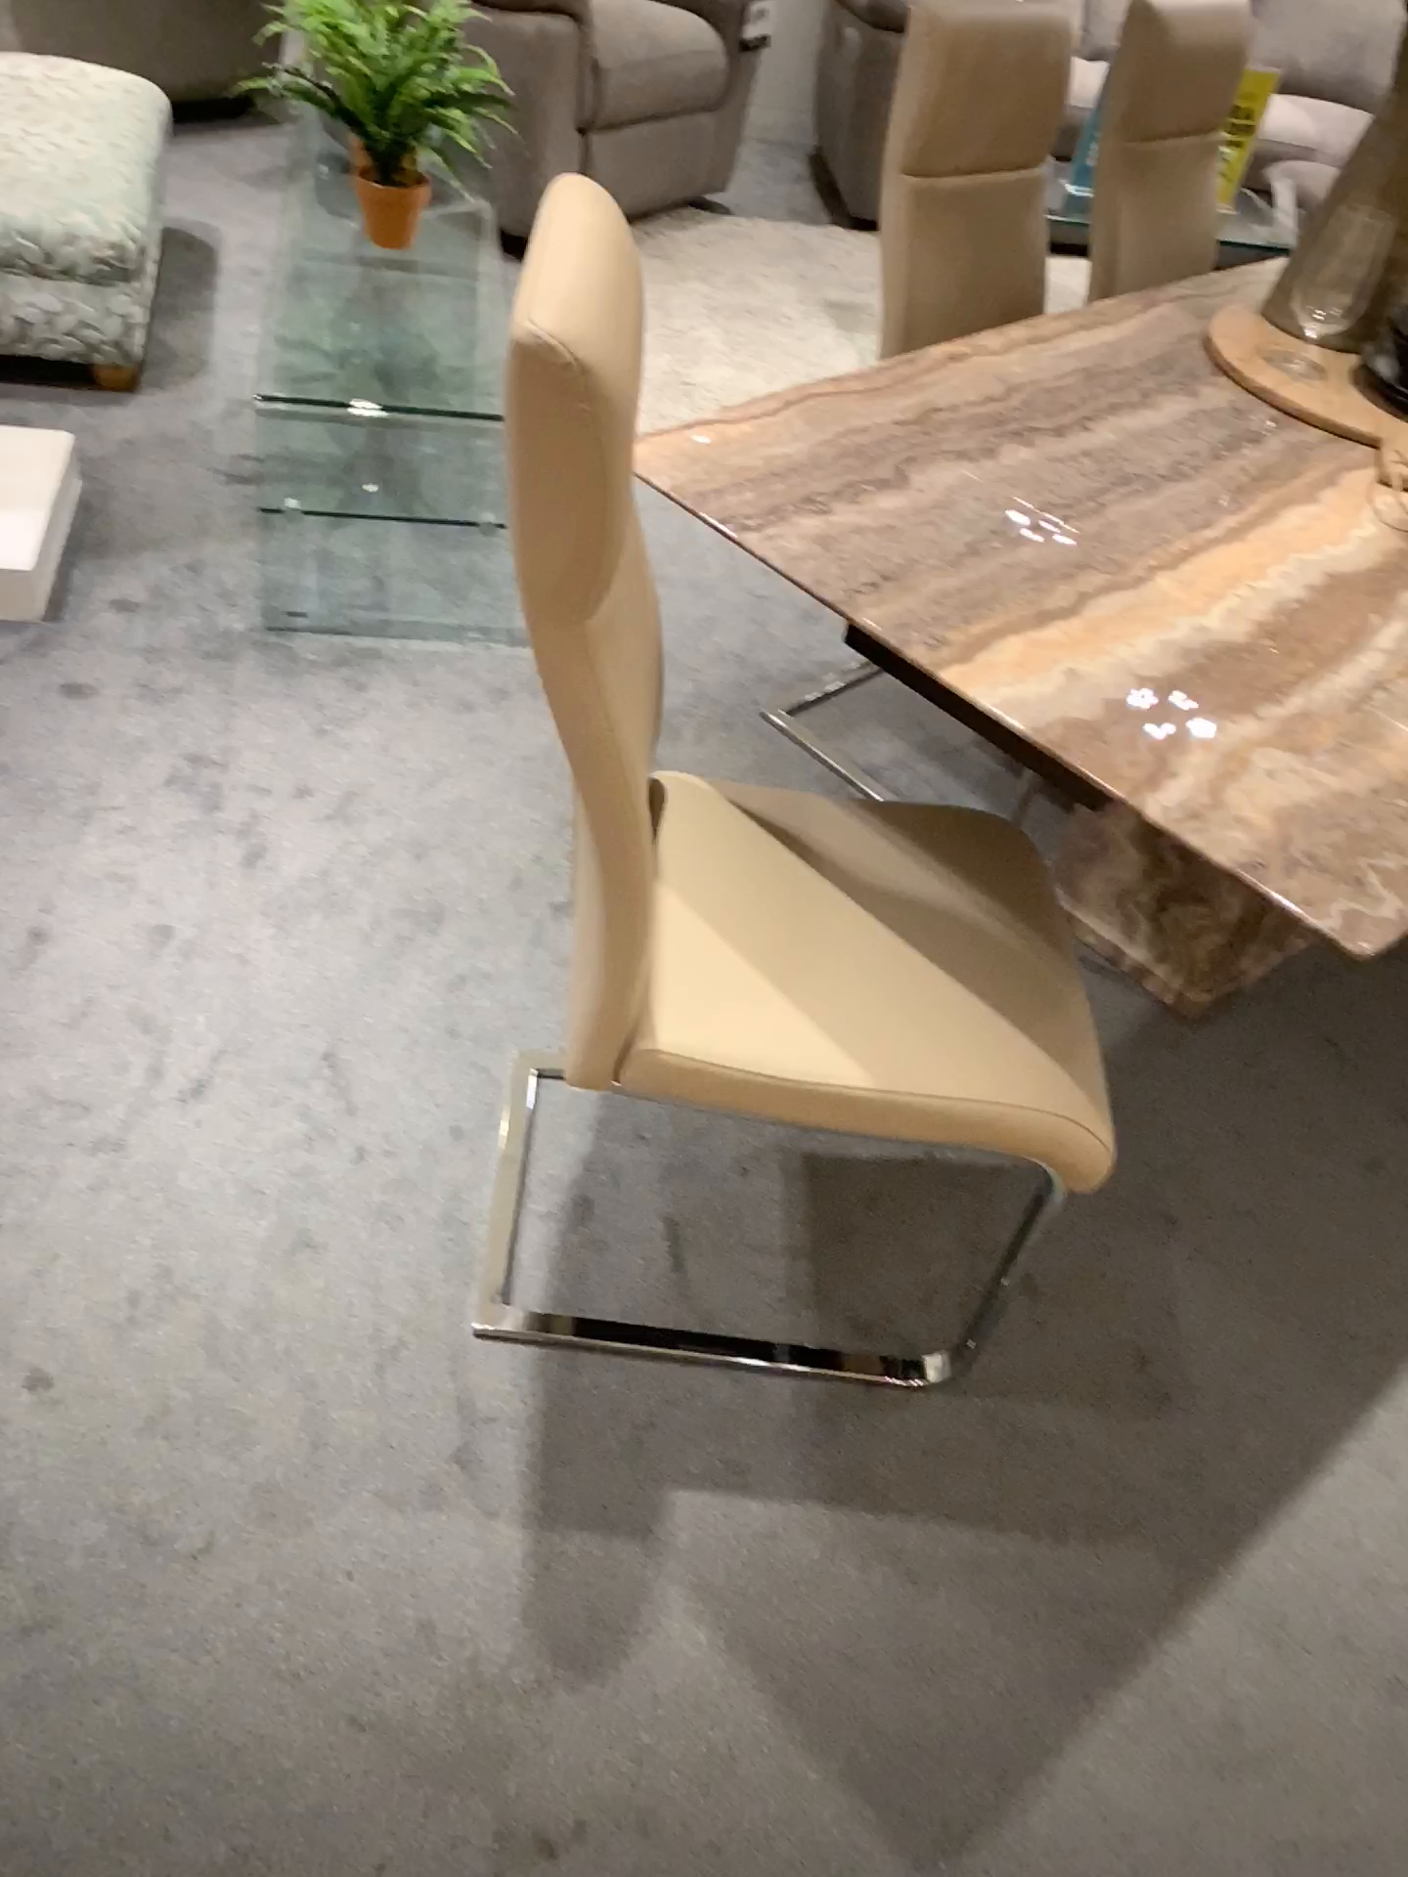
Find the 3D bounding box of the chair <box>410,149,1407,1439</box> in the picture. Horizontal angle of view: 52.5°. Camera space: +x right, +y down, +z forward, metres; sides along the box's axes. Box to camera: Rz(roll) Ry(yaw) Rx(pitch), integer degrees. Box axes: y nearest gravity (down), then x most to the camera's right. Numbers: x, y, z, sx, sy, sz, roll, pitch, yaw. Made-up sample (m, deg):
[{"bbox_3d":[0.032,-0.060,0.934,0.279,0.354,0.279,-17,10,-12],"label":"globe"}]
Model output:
[{"bbox_3d":[0.080,-0.046,1.261,0.569,0.973,0.478,8,42,-6],"label":"chair"}]
